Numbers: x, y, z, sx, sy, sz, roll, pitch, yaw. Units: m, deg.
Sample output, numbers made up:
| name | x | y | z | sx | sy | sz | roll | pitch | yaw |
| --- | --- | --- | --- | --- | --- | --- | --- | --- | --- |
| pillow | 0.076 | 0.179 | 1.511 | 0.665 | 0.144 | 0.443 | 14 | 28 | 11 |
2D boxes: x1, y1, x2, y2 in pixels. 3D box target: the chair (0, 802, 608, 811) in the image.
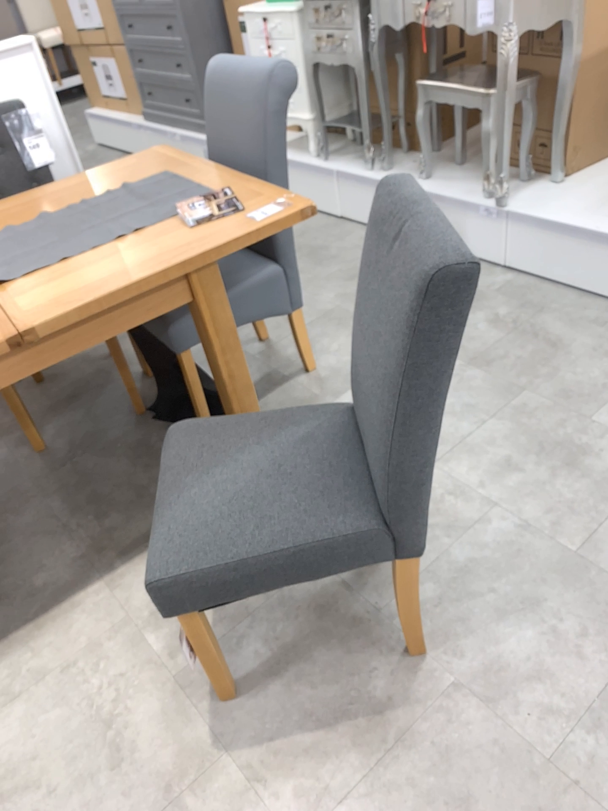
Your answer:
| name | x | y | z | sx | sy | sz | roll | pitch | yaw |
| --- | --- | --- | --- | --- | --- | --- | --- | --- | --- |
| chair | 0.313 | 0.771 | 0.177 | 0.667 | 0.830 | 0.585 | -37 | 45 | -28 |

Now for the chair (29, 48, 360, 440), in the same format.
| name | x | y | z | sx | sy | sz | roll | pitch | yaw |
| --- | --- | --- | --- | --- | --- | --- | --- | --- | --- |
| chair | -0.272 | -0.501 | 1.916 | 0.624 | 0.899 | 0.507 | -32 | 43 | -24 |

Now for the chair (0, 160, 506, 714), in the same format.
| name | x | y | z | sx | sy | sz | roll | pitch | yaw |
| --- | --- | --- | --- | --- | --- | --- | --- | --- | --- |
| chair | -0.040 | 0.096 | 1.160 | 0.642 | 0.830 | 0.448 | -11 | 38 | 1 |
